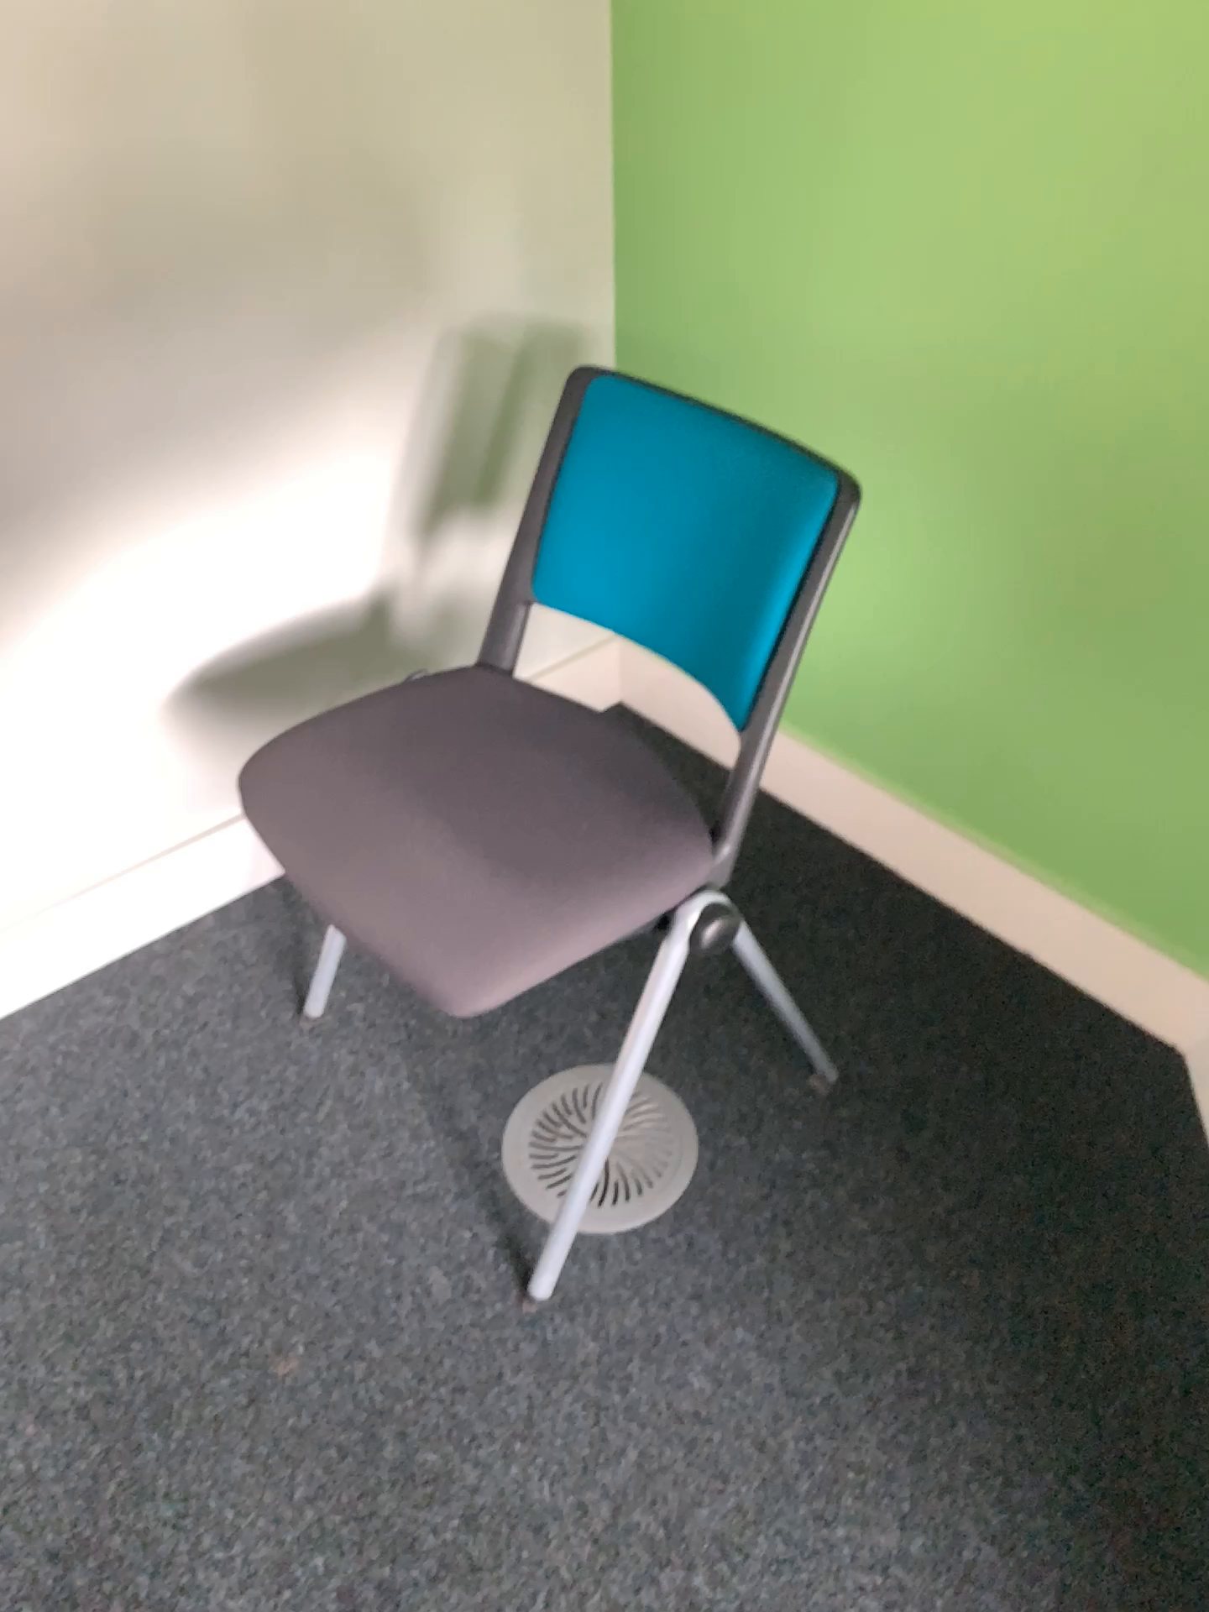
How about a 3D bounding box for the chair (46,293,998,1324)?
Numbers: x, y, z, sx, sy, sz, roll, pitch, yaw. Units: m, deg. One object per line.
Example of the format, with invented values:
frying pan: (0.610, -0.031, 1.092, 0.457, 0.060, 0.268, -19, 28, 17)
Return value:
chair: (-0.079, -0.042, 1.235, 0.552, 0.663, 0.584, -28, 46, -30)
